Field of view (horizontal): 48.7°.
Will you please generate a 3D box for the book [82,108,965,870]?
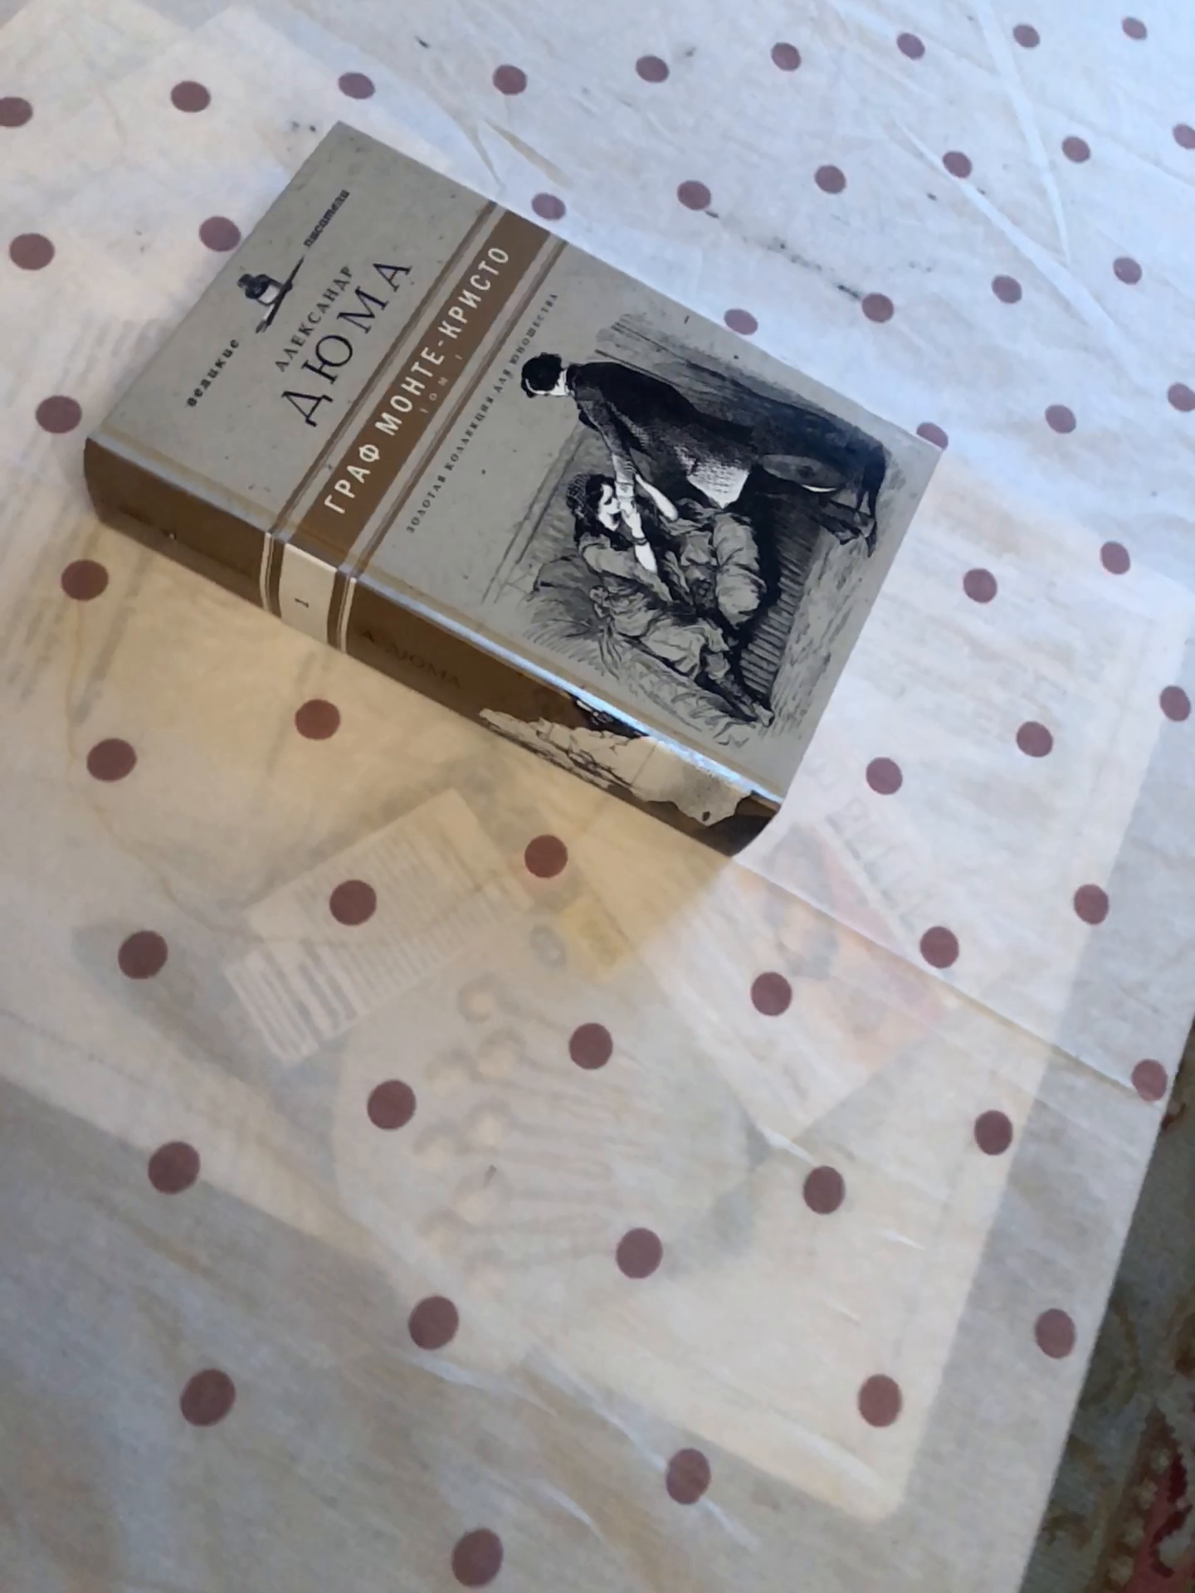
[{"bbox_3d":[-0.015,-0.090,0.383,0.208,0.040,0.136,28,68,-3],"label":"book"}]
